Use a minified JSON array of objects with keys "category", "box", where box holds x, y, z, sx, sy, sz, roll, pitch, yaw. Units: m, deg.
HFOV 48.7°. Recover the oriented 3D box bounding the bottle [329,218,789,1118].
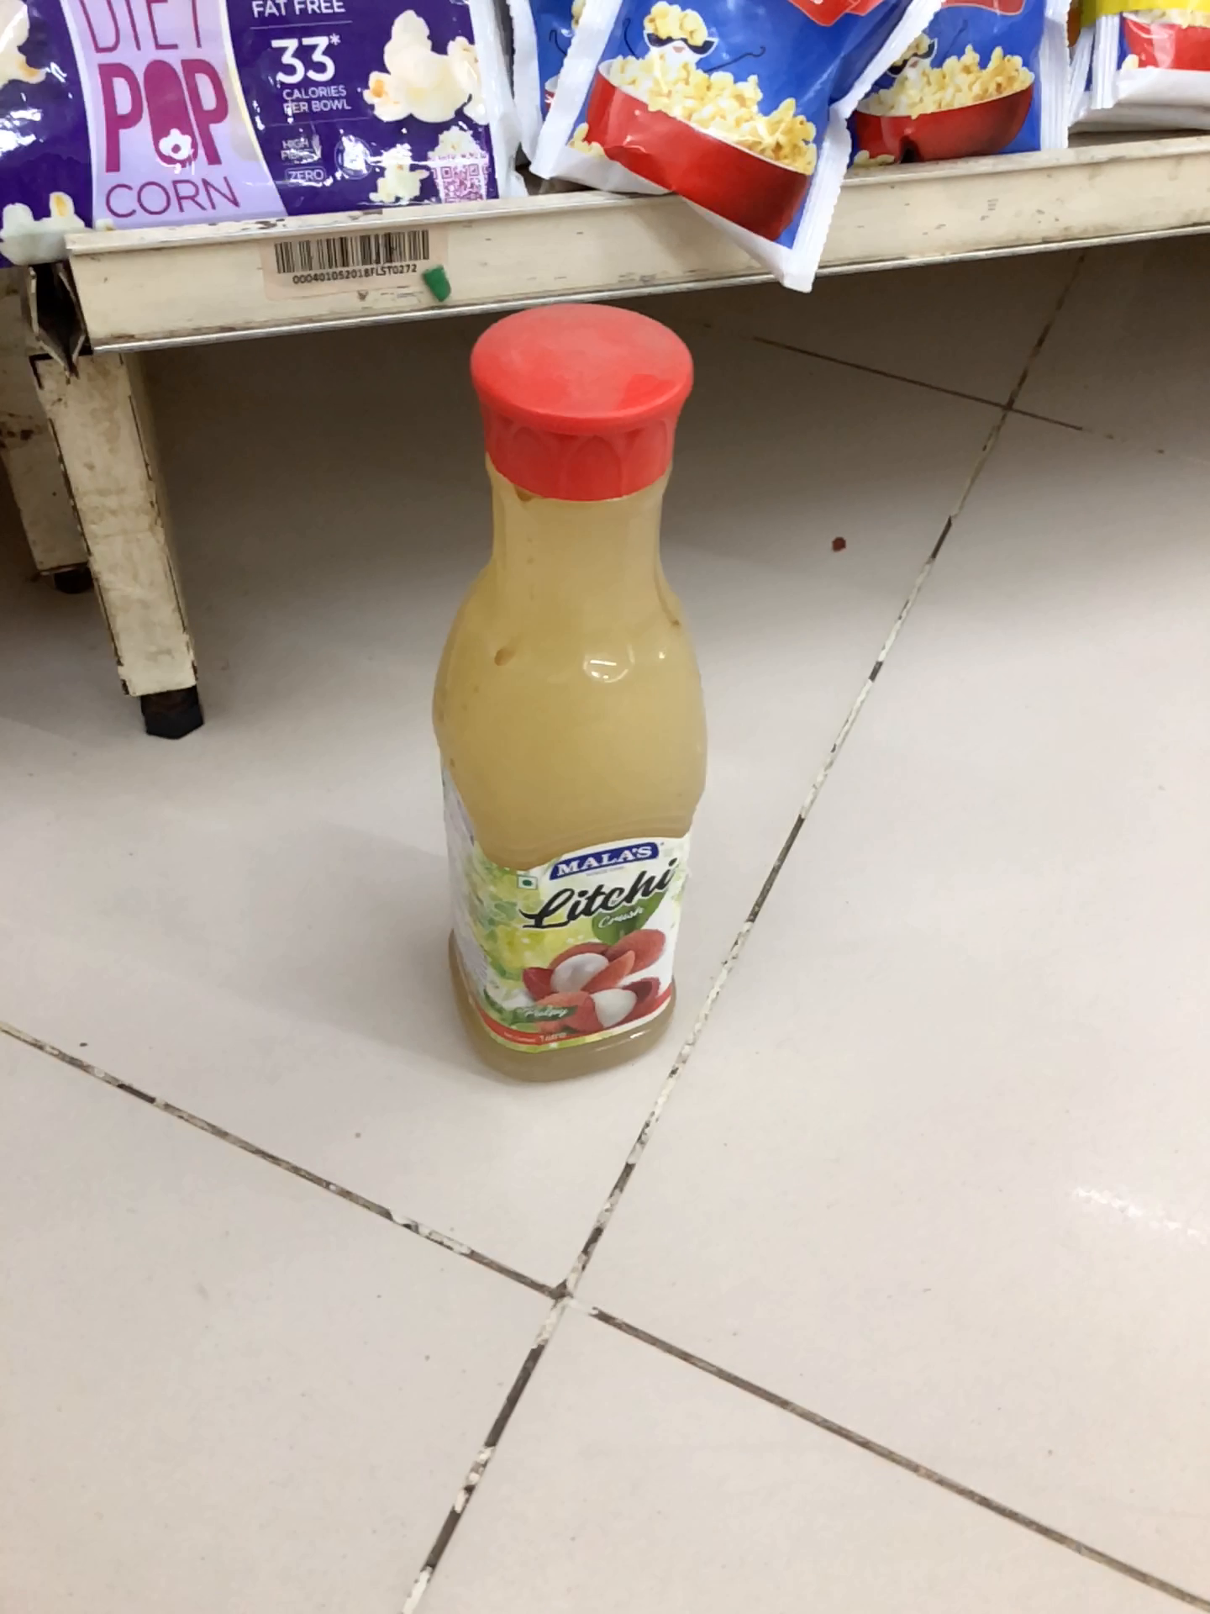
[{"category":"bottle","box":[-0.019,-0.022,0.431,0.090,0.288,0.090,1,48,-1]}]
